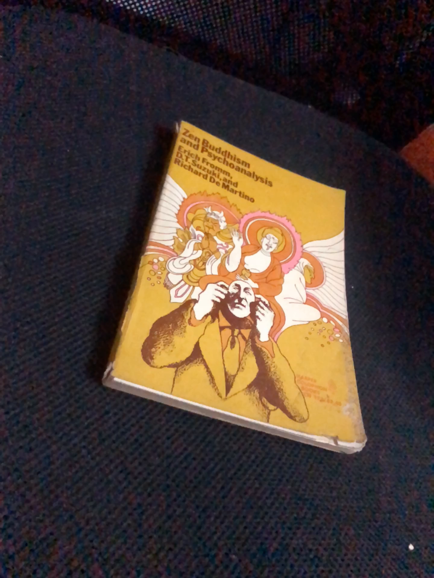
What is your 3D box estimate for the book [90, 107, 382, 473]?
[{"bbox_3d":[0.019,-0.012,0.278,0.137,0.020,0.201,18,51,-17],"label":"book"}]
